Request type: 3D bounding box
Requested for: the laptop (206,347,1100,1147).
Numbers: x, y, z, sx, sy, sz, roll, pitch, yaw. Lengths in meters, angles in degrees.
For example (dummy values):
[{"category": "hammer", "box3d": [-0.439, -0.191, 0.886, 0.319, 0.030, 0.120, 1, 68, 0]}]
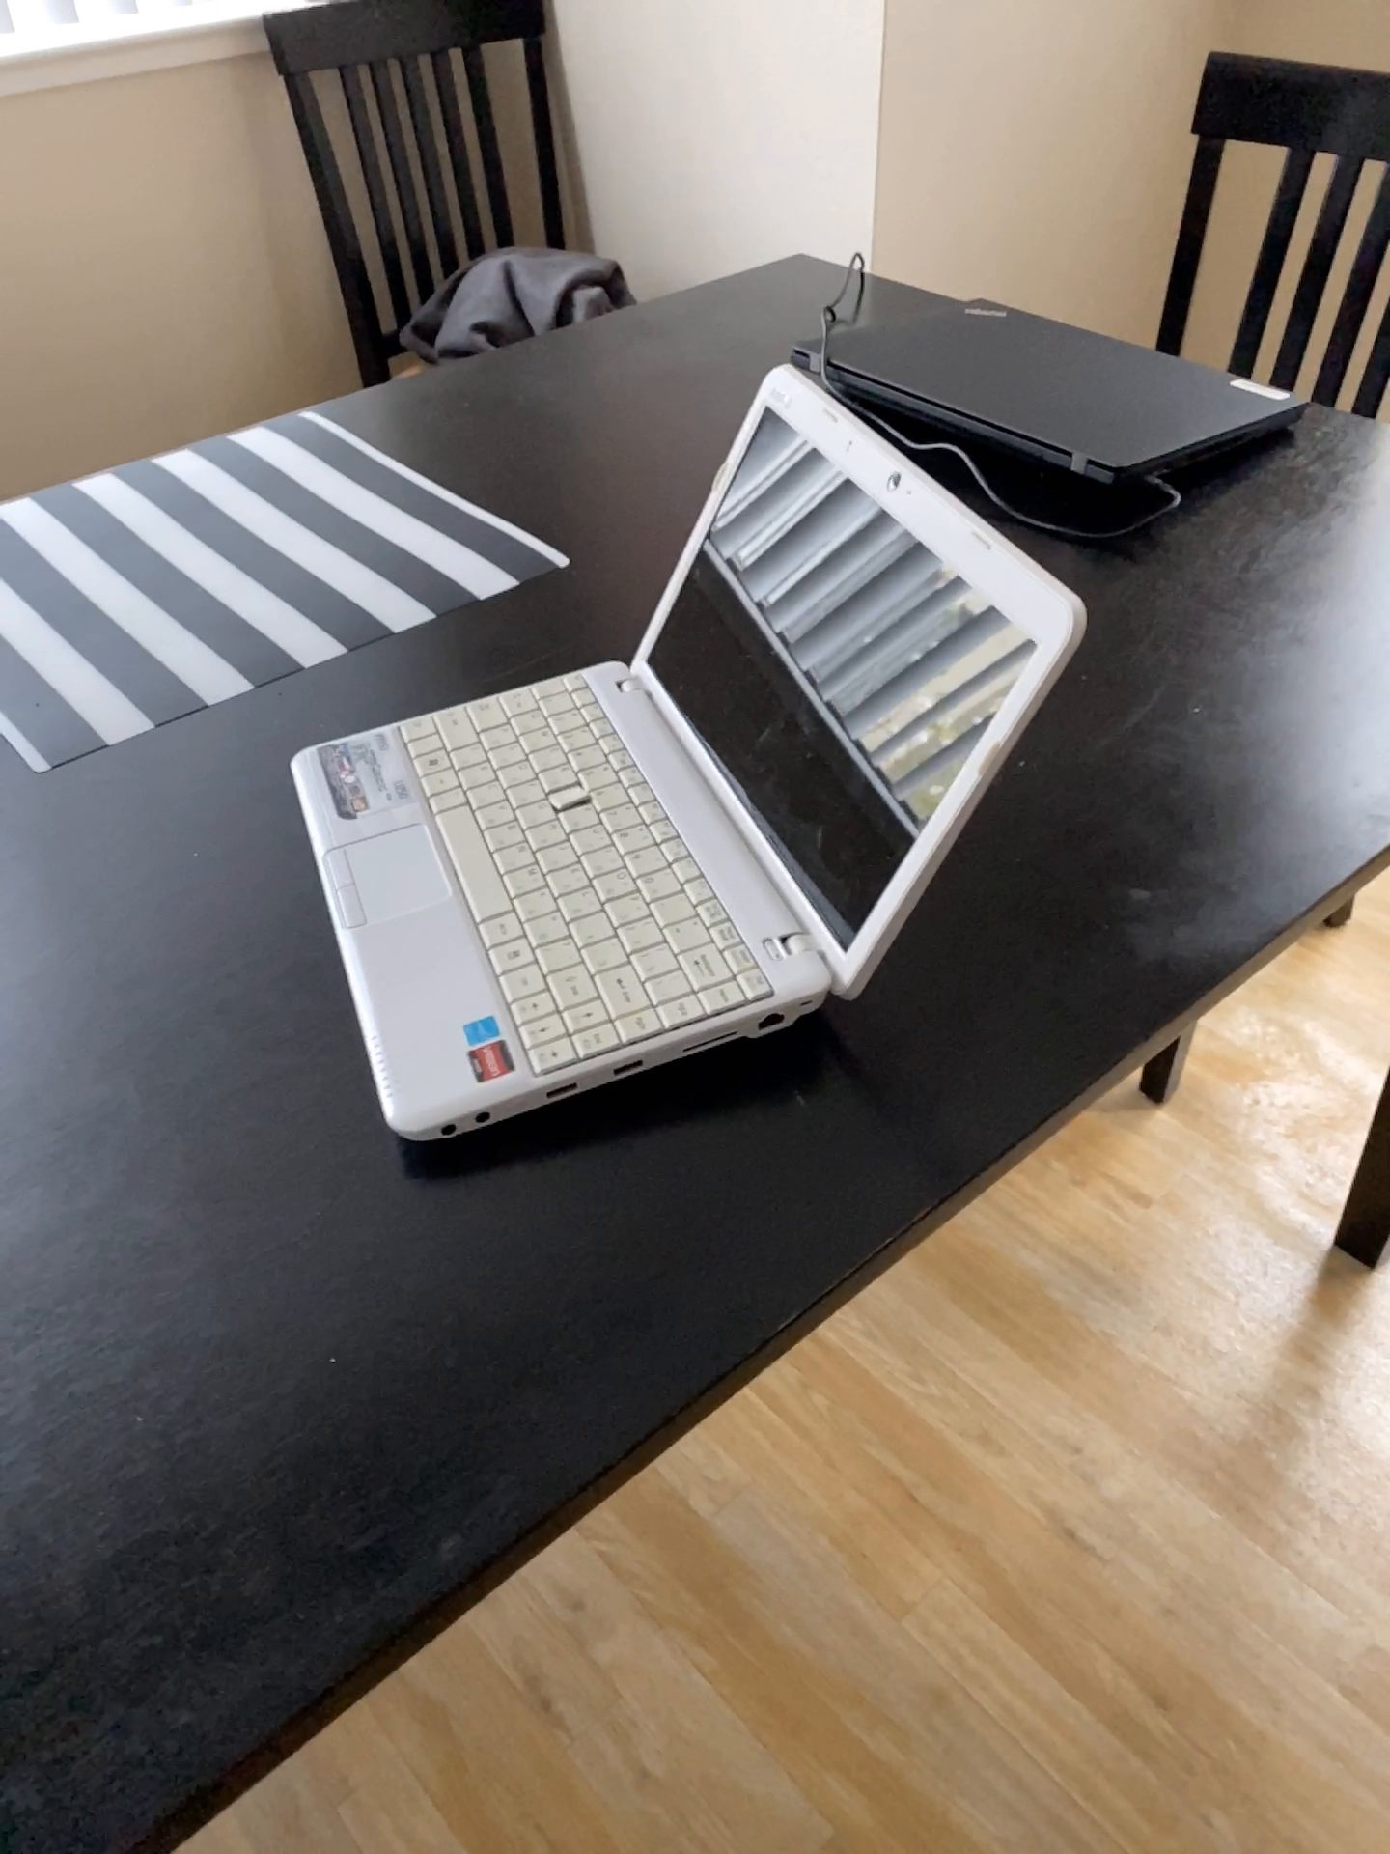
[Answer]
[{"category": "laptop", "box3d": [-0.040, -0.107, 0.647, 0.301, 0.153, 0.296, -18, 43, -12]}]
